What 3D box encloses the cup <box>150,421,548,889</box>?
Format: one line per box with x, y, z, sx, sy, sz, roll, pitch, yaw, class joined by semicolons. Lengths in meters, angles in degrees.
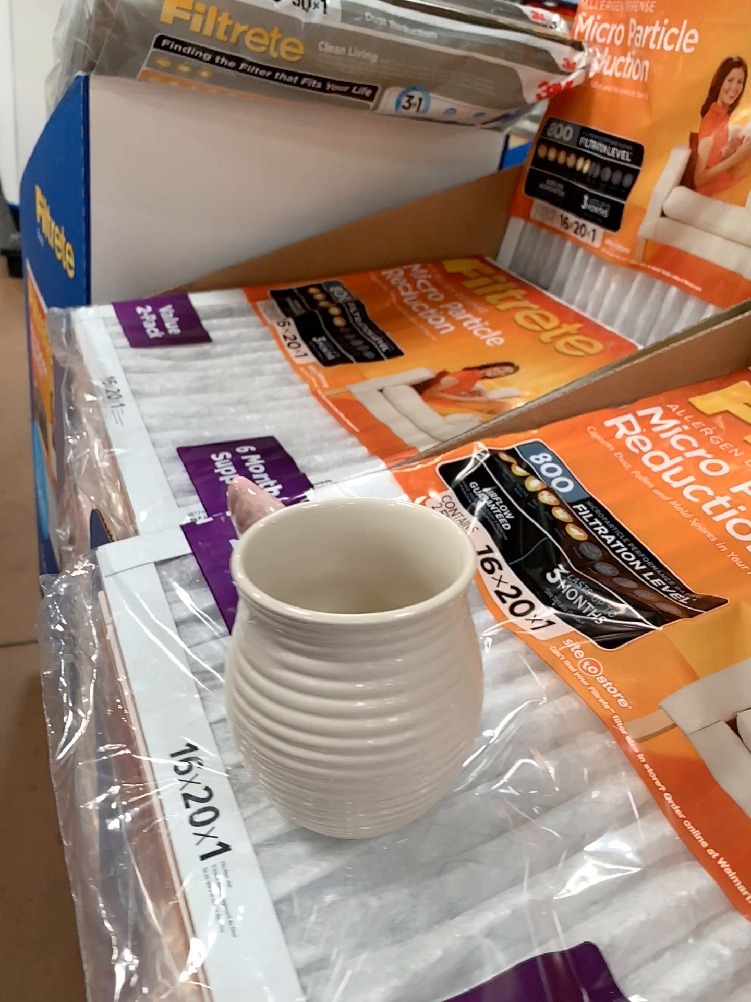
-0.020;0.044;0.300;0.100;0.090;0.141;-10;31;-20;cup
